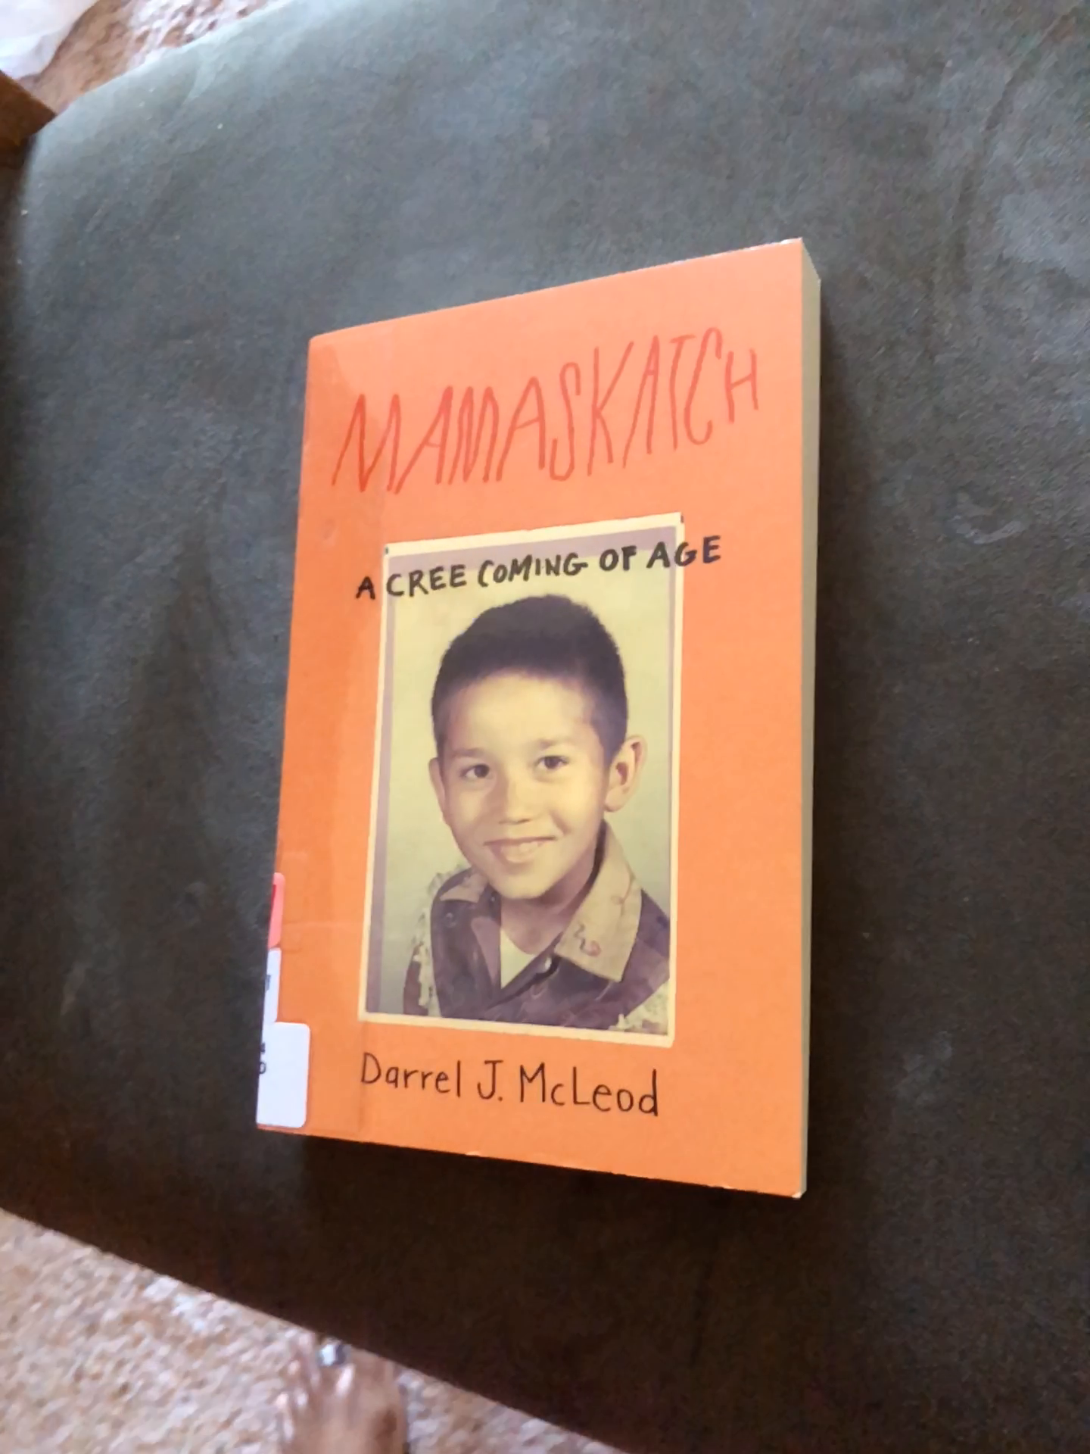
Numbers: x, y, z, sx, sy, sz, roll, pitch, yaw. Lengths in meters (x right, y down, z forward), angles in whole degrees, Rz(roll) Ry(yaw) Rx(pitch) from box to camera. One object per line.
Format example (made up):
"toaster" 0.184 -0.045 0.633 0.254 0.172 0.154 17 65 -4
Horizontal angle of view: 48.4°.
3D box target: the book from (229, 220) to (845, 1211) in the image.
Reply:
"book" -0.002 -0.003 0.314 0.150 0.040 0.218 -2 82 25
